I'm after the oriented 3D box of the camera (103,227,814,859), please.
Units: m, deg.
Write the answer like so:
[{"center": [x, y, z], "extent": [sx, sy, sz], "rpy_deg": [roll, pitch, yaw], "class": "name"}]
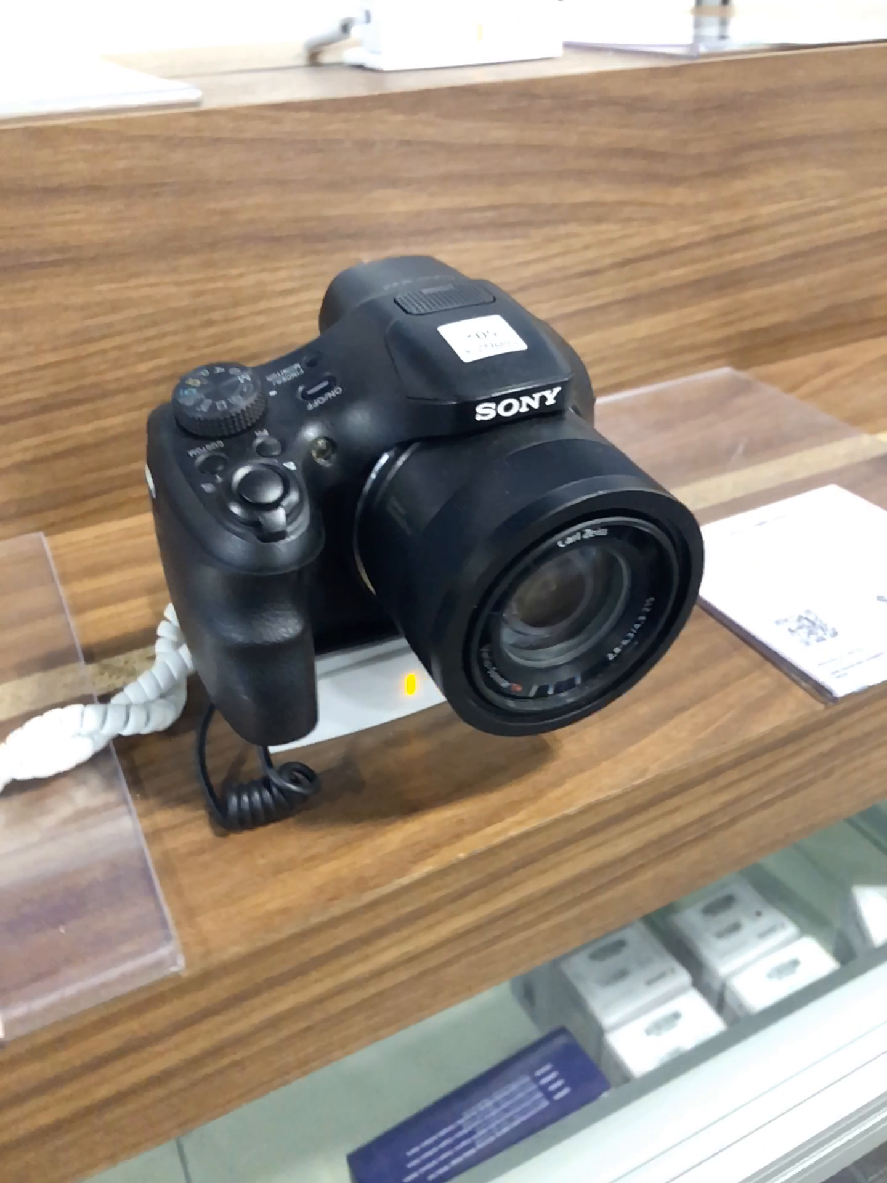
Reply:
[{"center": [-0.004, -0.025, 0.265], "extent": [0.130, 0.089, 0.121], "rpy_deg": [-17, 42, -21], "class": "camera"}]
